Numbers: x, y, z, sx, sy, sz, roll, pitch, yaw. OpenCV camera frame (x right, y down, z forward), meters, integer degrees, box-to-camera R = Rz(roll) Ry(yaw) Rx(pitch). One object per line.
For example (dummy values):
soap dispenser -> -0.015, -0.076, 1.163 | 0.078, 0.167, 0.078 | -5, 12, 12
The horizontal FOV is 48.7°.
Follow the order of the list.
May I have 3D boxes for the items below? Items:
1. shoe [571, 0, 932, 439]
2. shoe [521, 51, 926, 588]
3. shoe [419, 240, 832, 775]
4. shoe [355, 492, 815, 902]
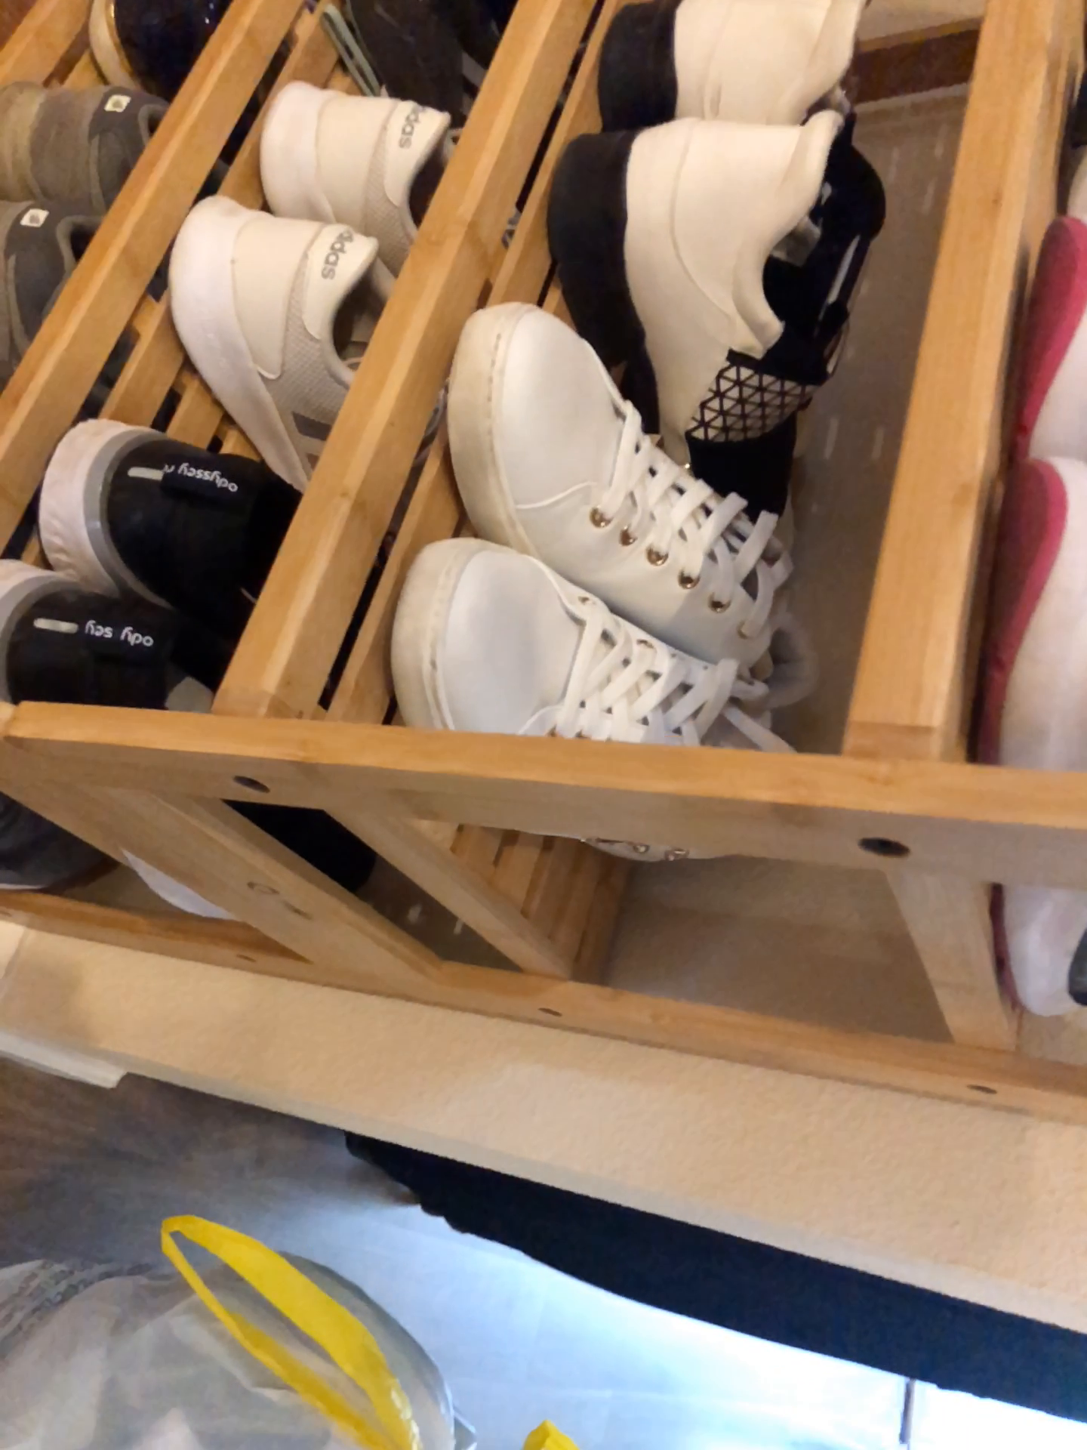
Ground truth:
shoe -> 0.114, -0.254, 0.595 | 0.211, 0.113, 0.090 | 56, 45, -49
shoe -> 0.093, -0.164, 0.541 | 0.211, 0.113, 0.090 | 56, 45, -49
shoe -> 0.052, -0.070, 0.501 | 0.252, 0.070, 0.090 | 45, 54, -55
shoe -> 0.038, 0.004, 0.511 | 0.262, 0.080, 0.100 | 30, 67, -59
